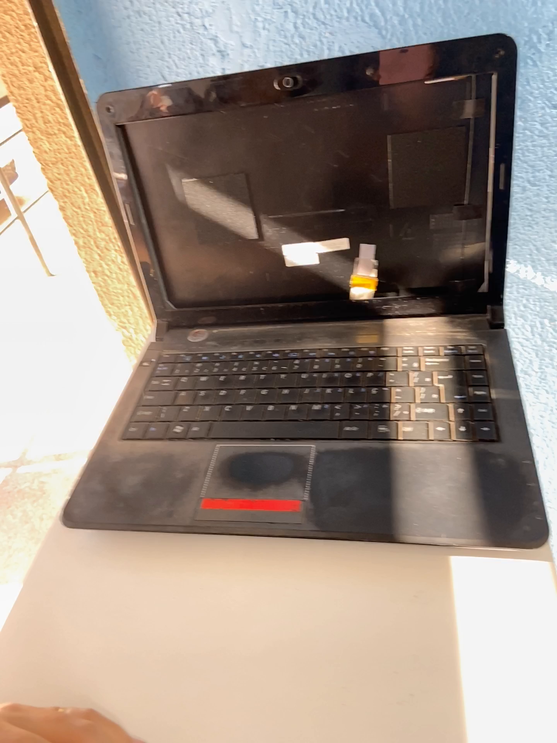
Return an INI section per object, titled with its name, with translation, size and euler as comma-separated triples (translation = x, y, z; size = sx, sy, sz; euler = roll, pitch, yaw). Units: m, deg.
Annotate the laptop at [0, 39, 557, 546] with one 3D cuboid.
[laptop]
translation = 0.004, -0.067, 0.426
size = 0.334, 0.216, 0.277
euler = -1, 41, 13
